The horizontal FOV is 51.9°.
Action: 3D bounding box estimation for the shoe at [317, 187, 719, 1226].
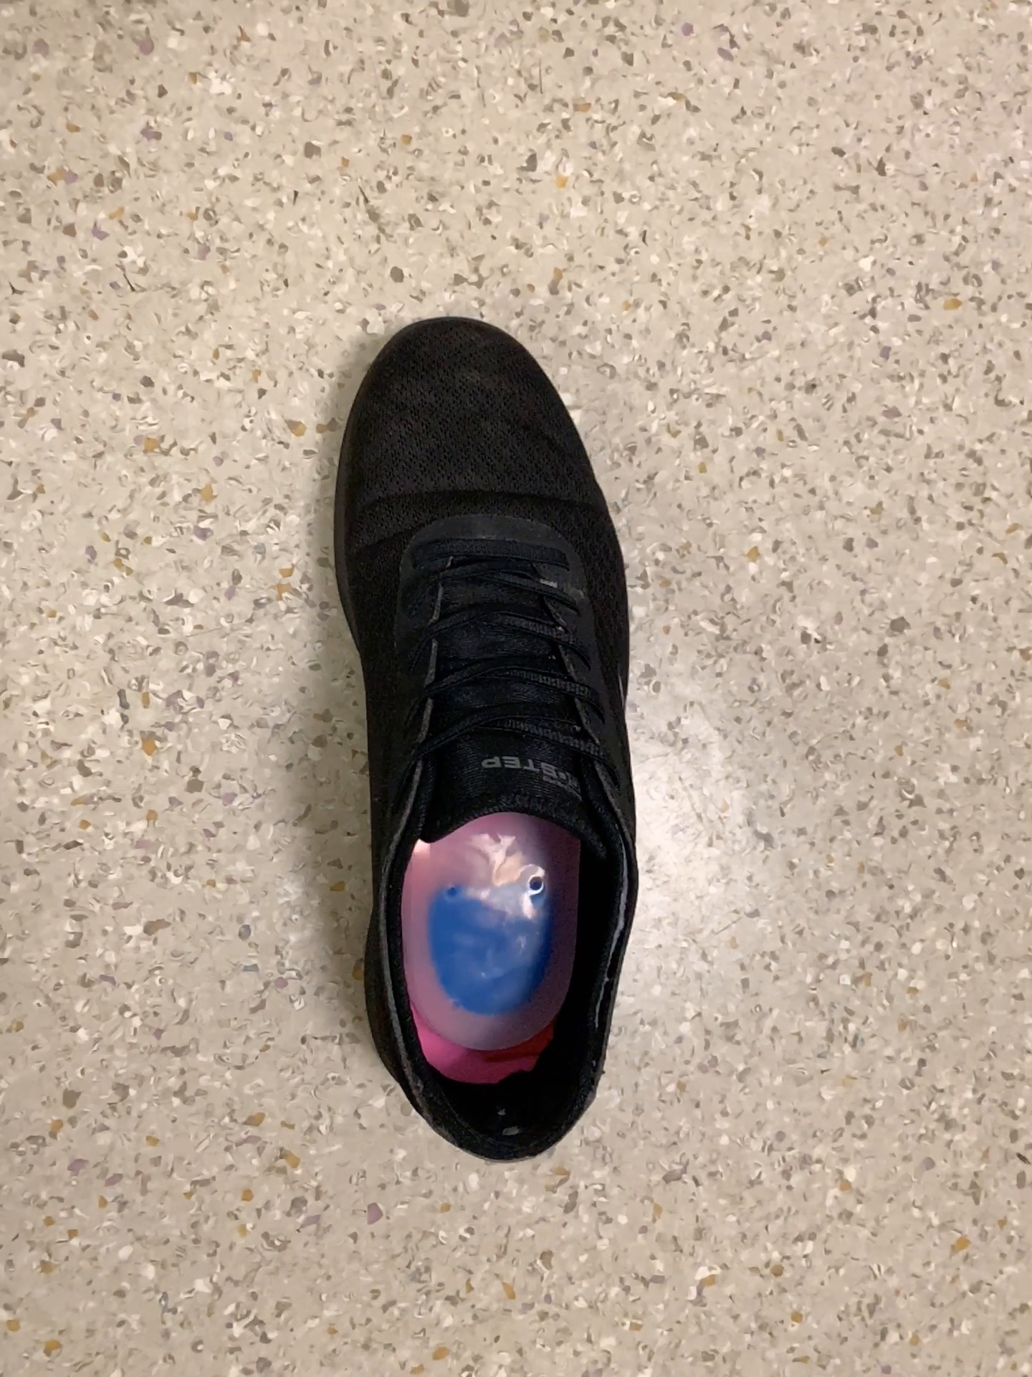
[{"bbox_3d":[-0.005,0.006,0.344,0.104,0.100,0.279,2,88,-10],"label":"shoe"}]
